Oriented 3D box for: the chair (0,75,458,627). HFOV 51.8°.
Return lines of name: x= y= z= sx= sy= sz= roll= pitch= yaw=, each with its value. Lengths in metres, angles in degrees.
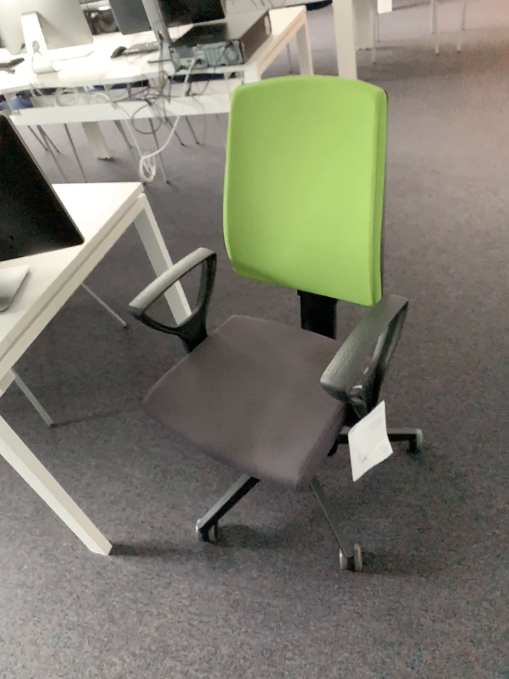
chair: x=0.043 y=0.022 z=1.334 sx=0.621 sy=1.045 sz=0.763 roll=17 pitch=51 yaw=30
